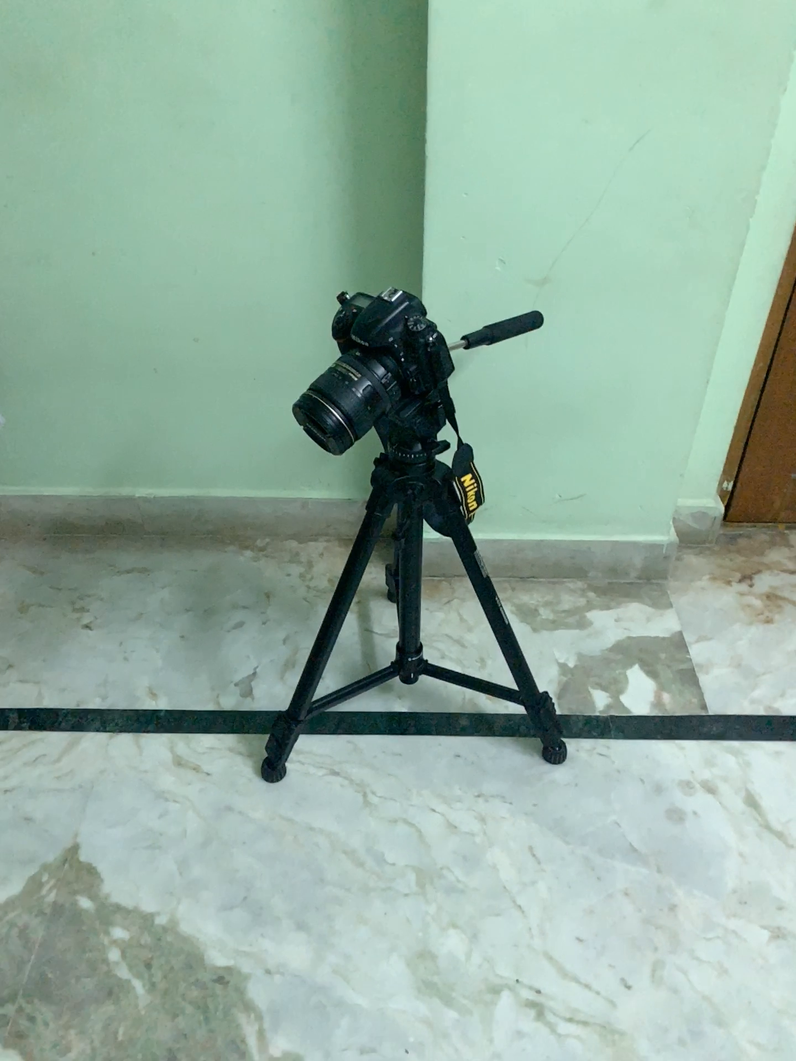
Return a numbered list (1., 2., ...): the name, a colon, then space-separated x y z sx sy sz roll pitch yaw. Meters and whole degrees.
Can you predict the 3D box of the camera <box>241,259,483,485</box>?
1. camera: -0.039 -0.182 0.904 0.180 0.110 0.170 -45 52 -13
